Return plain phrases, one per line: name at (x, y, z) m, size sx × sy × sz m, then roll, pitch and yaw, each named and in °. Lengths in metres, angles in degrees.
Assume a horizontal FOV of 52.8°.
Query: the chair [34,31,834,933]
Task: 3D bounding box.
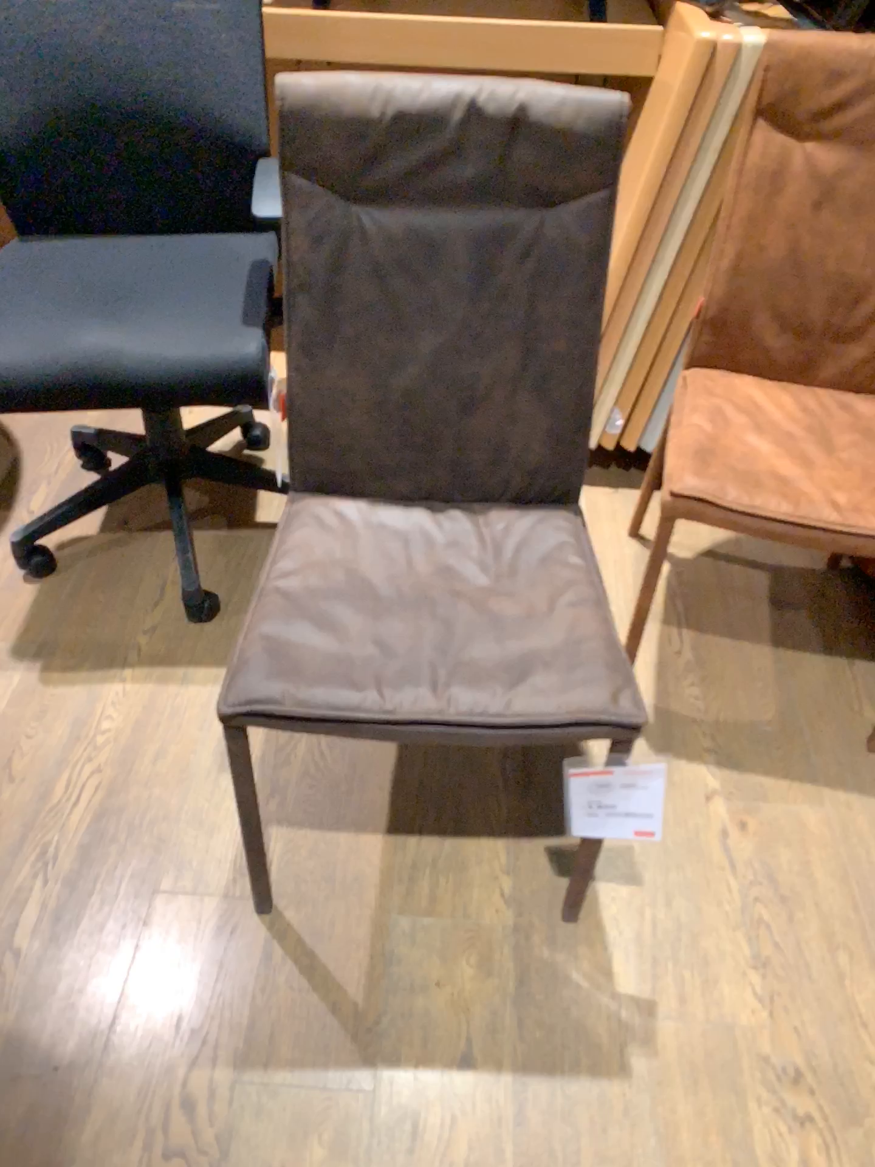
chair at (-0.015, -0.061, 1.049) m, size 0.500 × 0.906 × 0.522 m, roll 3°, pitch 43°, yaw -1°
